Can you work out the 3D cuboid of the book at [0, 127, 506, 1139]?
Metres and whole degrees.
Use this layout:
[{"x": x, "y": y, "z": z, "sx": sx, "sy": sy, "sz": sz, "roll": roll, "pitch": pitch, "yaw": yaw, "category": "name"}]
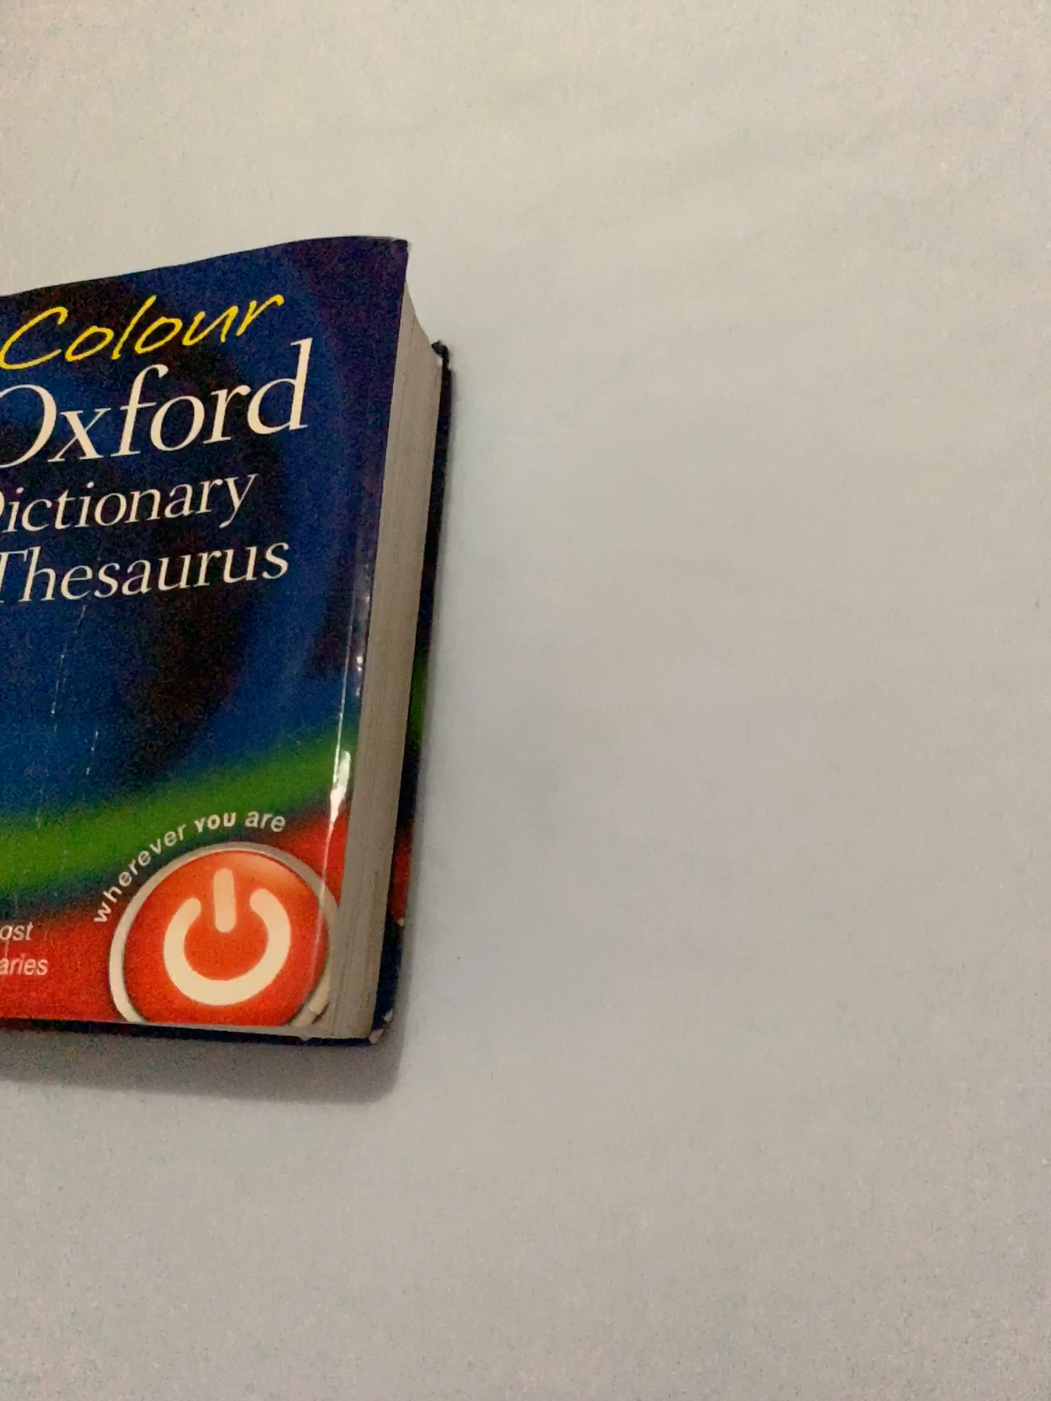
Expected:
[{"x": -0.072, "y": -0.014, "z": 0.218, "sx": 0.120, "sy": 0.040, "sz": 0.181, "roll": -4, "pitch": 70, "yaw": 20, "category": "book"}]
